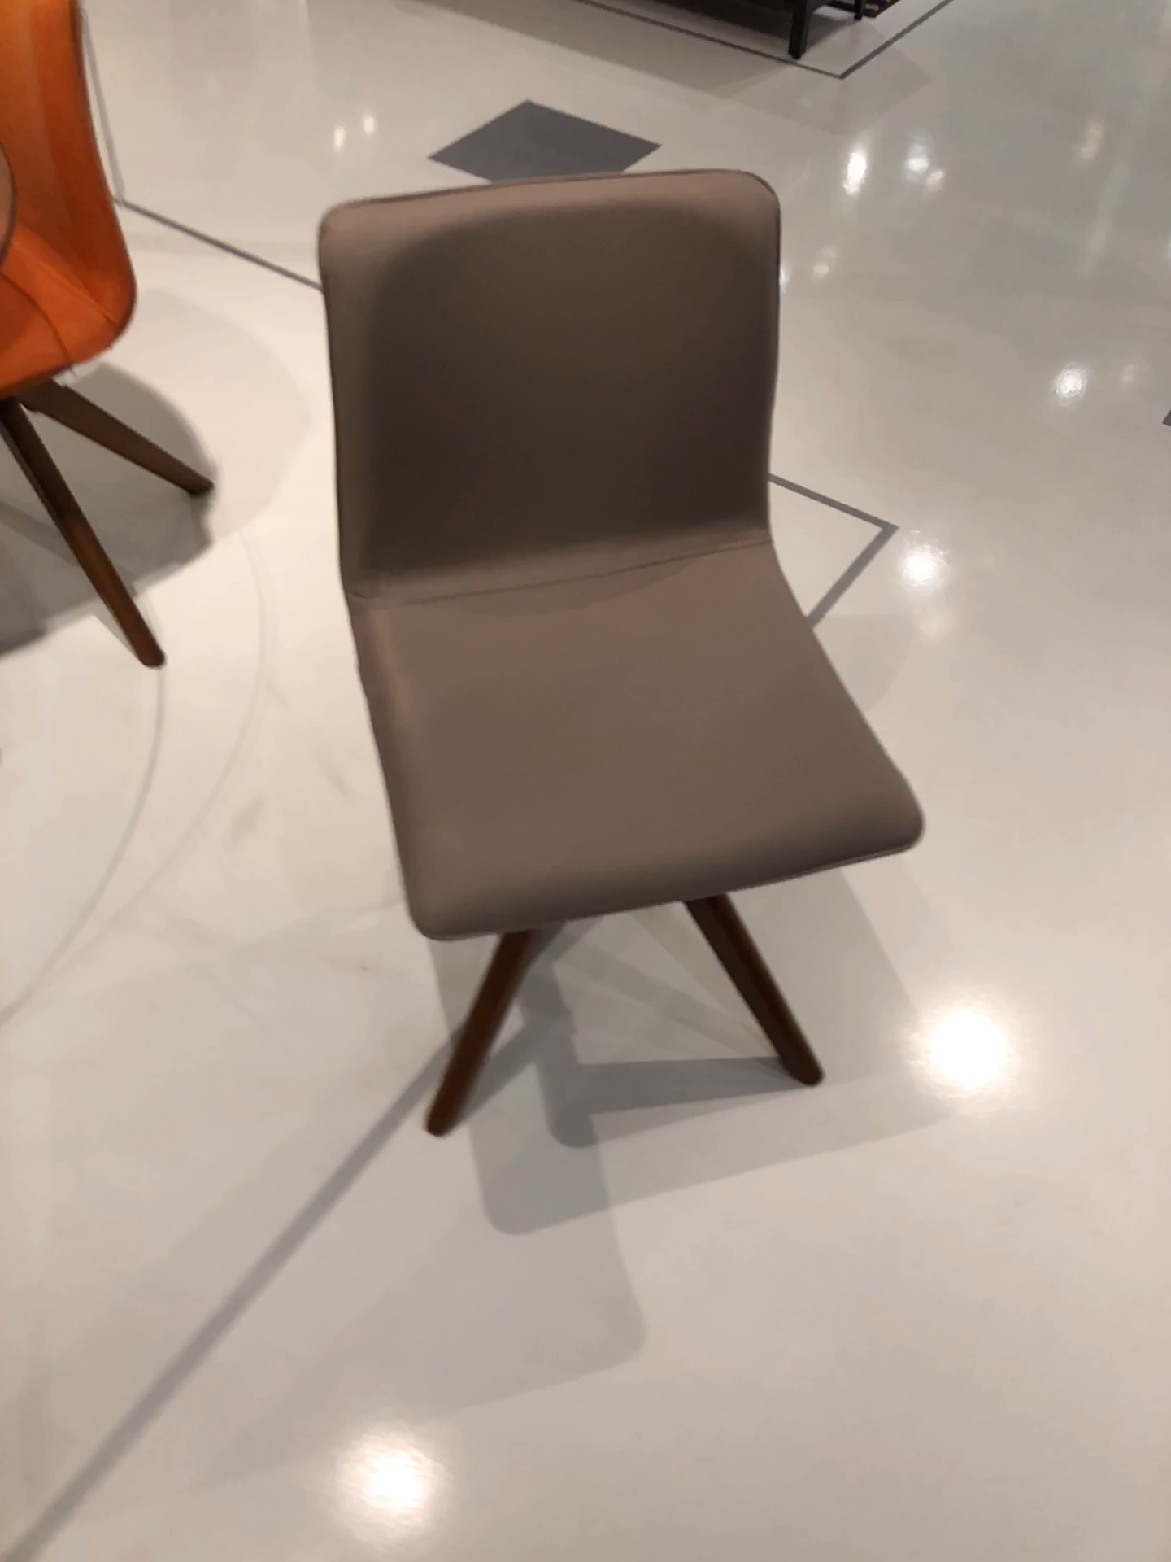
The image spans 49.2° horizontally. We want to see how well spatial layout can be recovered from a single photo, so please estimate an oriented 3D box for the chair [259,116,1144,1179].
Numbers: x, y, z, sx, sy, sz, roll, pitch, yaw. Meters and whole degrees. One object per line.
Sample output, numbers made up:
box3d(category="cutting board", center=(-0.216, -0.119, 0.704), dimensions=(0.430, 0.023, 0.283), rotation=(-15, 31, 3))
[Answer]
box3d(category="chair", center=(0.030, -0.086, 1.212), dimensions=(0.500, 0.804, 0.513), rotation=(-10, 50, -10))
